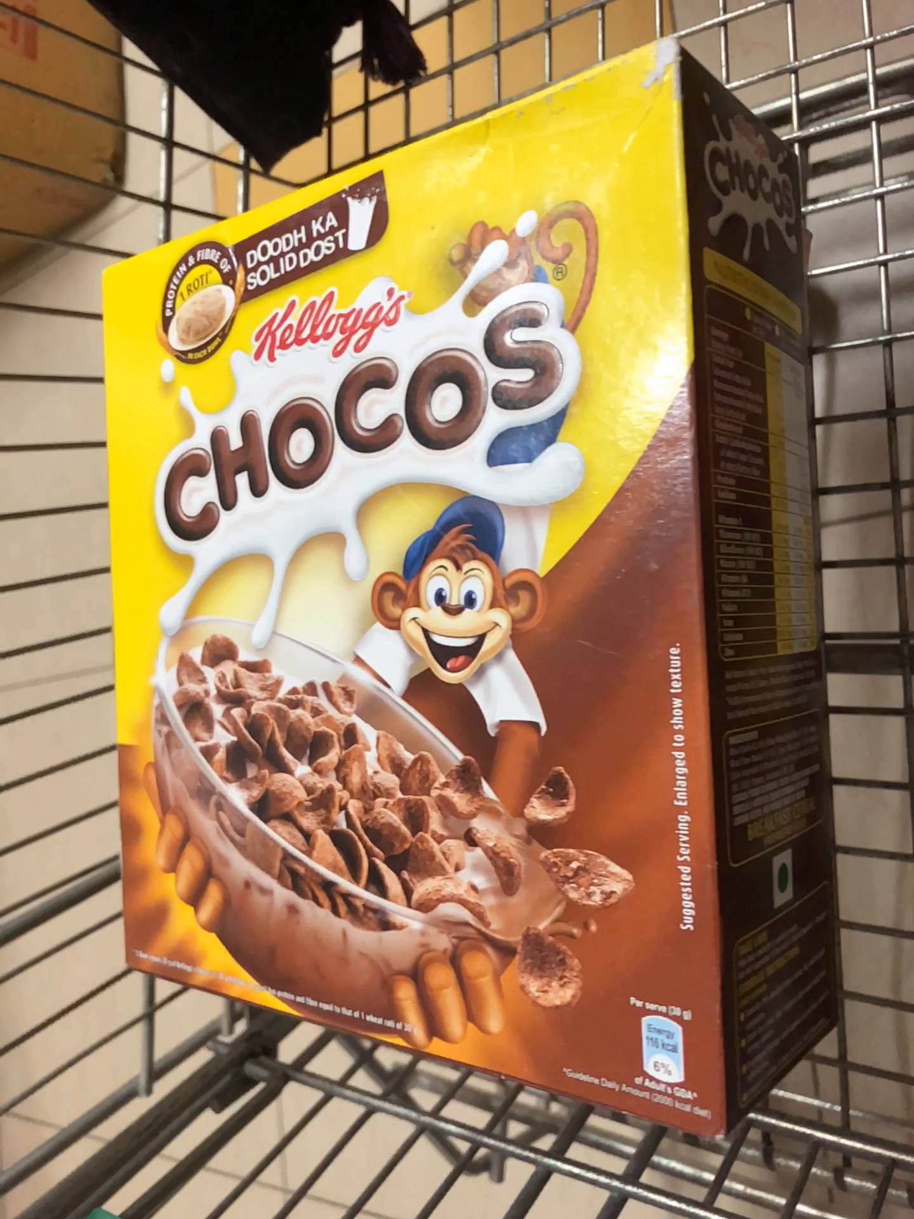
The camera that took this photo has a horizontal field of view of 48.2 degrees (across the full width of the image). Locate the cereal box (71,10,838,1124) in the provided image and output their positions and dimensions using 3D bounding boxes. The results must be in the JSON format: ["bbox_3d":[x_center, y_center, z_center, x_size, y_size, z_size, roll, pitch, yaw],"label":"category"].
[{"bbox_3d":[-0.012,-0.005,0.257,0.181,0.070,0.190,-3,89,38],"label":"cereal box"}]
